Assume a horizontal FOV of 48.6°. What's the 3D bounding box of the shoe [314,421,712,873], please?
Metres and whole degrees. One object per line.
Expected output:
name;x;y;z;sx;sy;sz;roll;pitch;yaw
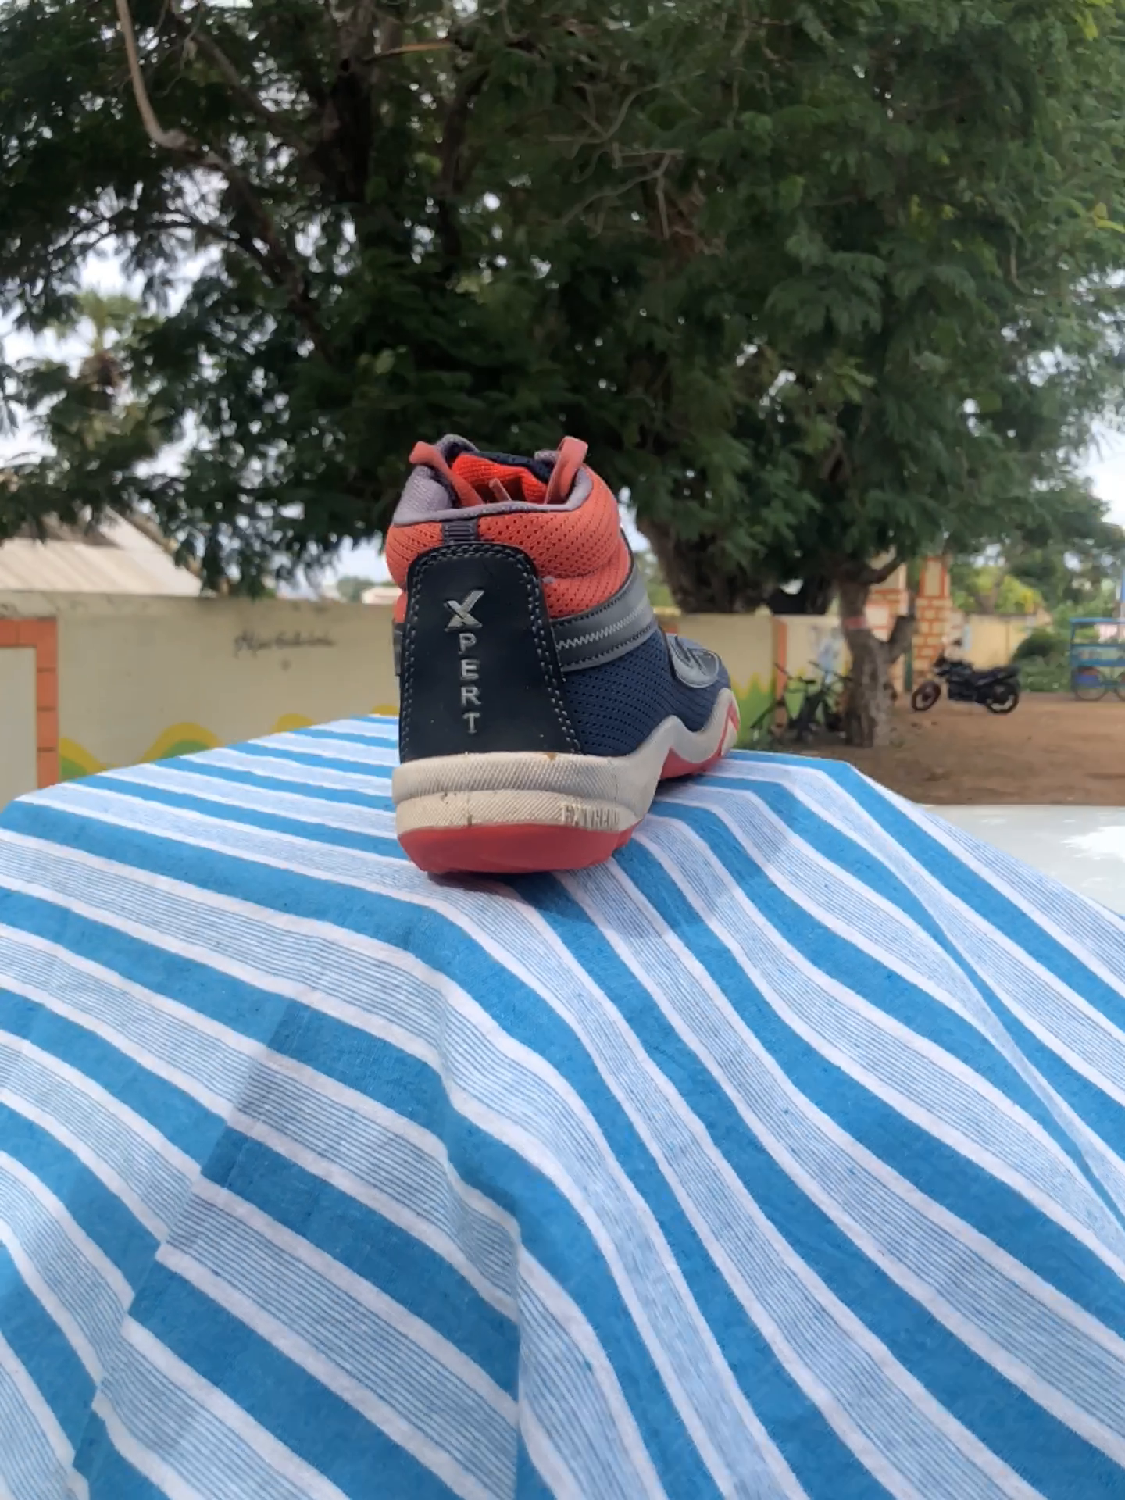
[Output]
shoe;0.001;-0.042;0.471;0.100;0.120;0.271;2;6;8
